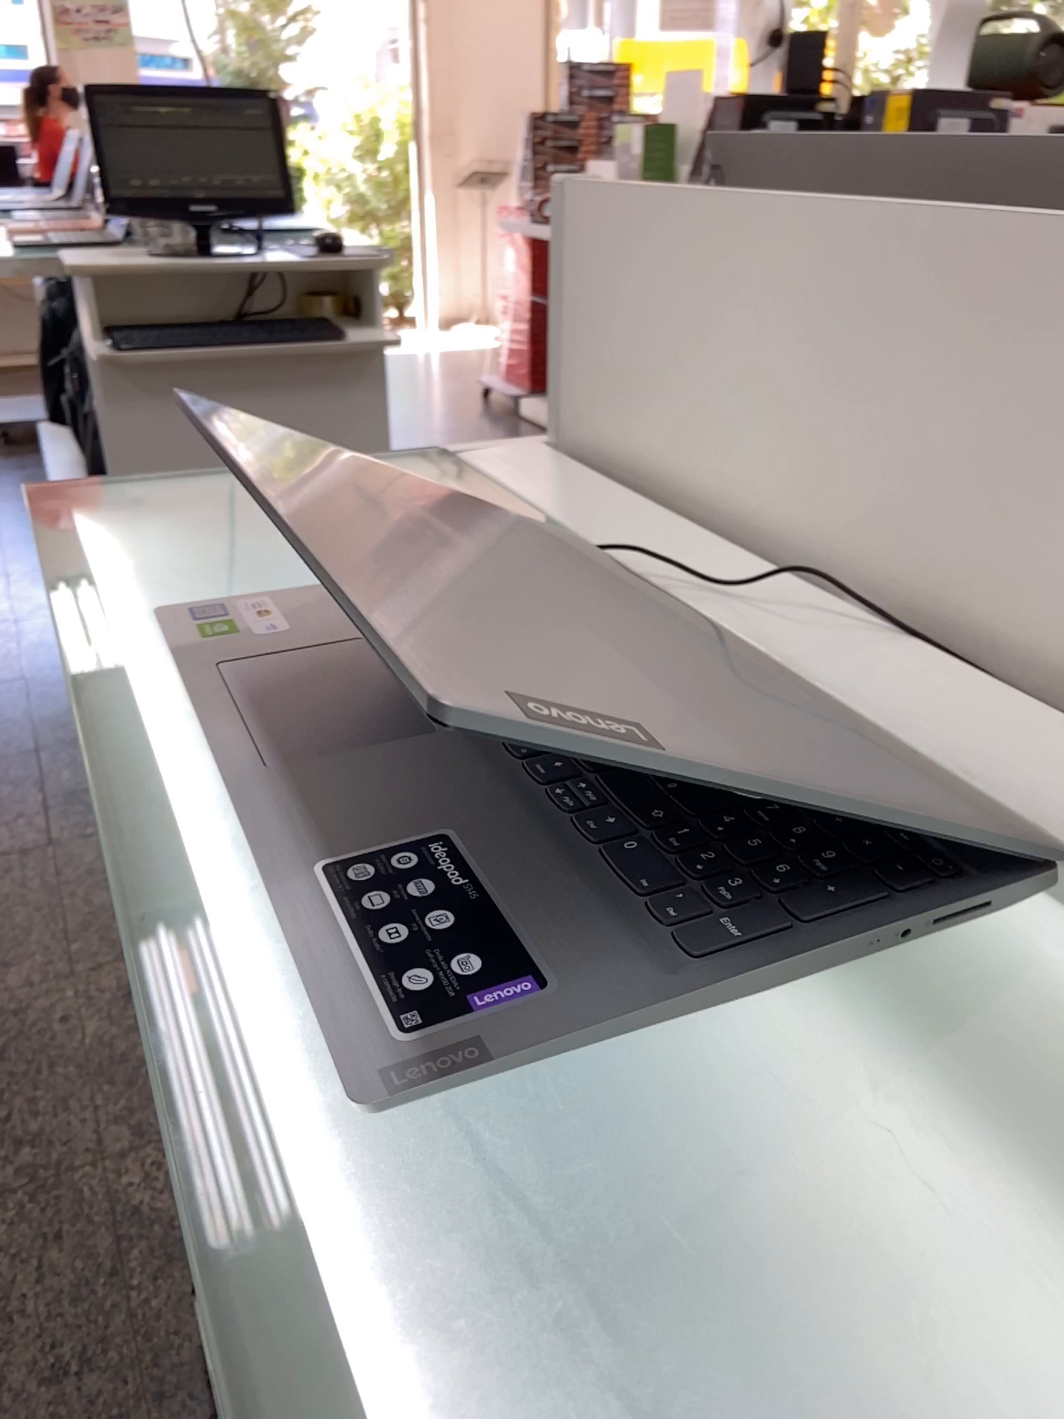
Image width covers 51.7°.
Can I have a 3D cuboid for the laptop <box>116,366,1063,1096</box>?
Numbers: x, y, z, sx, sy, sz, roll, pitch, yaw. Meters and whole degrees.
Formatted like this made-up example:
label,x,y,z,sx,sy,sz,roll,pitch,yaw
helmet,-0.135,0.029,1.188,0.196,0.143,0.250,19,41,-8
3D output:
label,x,y,z,sx,sy,sz,roll,pitch,yaw
laptop,-0.012,-0.047,0.440,0.239,0.104,0.355,-12,30,-22
